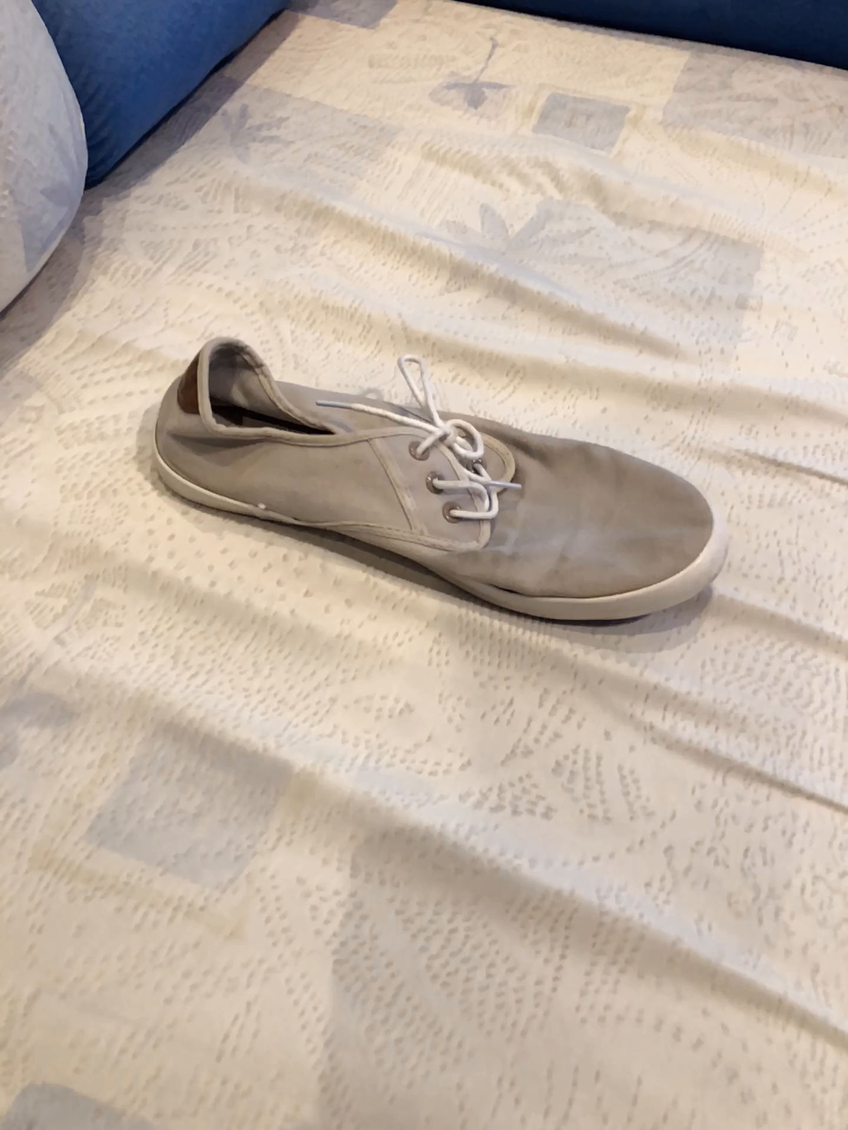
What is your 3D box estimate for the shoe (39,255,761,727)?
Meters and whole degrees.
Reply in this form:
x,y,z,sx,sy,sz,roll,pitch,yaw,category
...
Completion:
x,y,z,sx,sy,sz,roll,pitch,yaw,category
-0.008,-0.038,0.405,0.270,0.080,0.111,18,54,9,shoe
